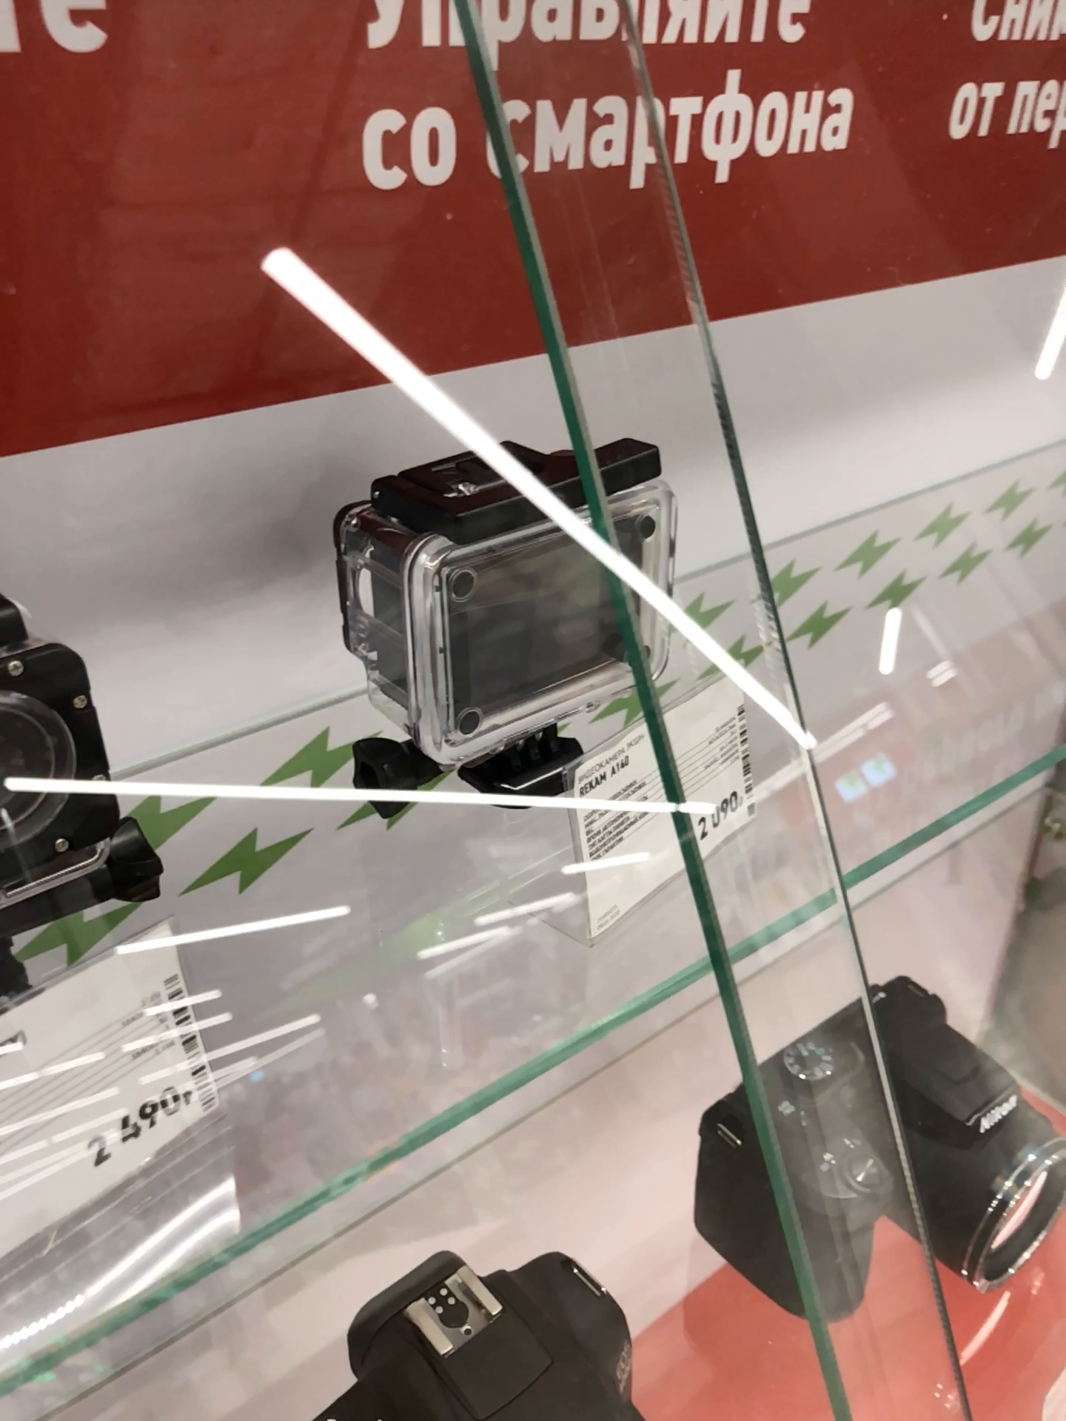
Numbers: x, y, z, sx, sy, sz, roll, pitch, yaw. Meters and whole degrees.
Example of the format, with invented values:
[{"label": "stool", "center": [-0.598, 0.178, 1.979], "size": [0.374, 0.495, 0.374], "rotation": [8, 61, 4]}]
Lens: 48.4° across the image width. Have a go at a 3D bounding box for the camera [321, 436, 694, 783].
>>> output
[{"label": "camera", "center": [-0.005, -0.027, 0.279], "size": [0.075, 0.053, 0.040], "rotation": [-22, 36, -34]}]
